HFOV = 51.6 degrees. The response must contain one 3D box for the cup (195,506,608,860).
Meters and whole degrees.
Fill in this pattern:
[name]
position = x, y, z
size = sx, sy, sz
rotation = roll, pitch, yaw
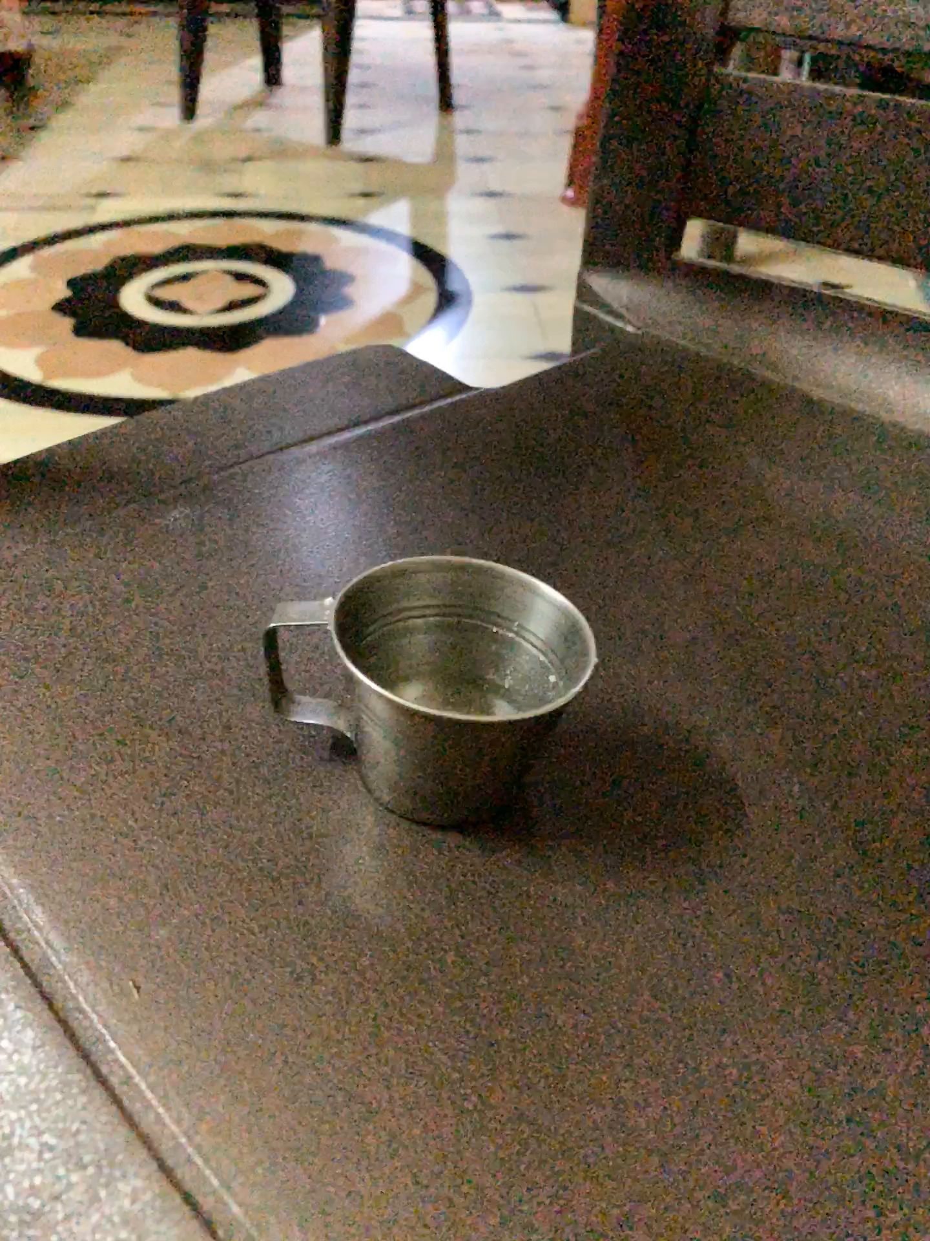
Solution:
[cup]
position = -0.011, 0.012, 0.220
size = 0.080, 0.040, 0.060
rotation = 8, 40, 2
